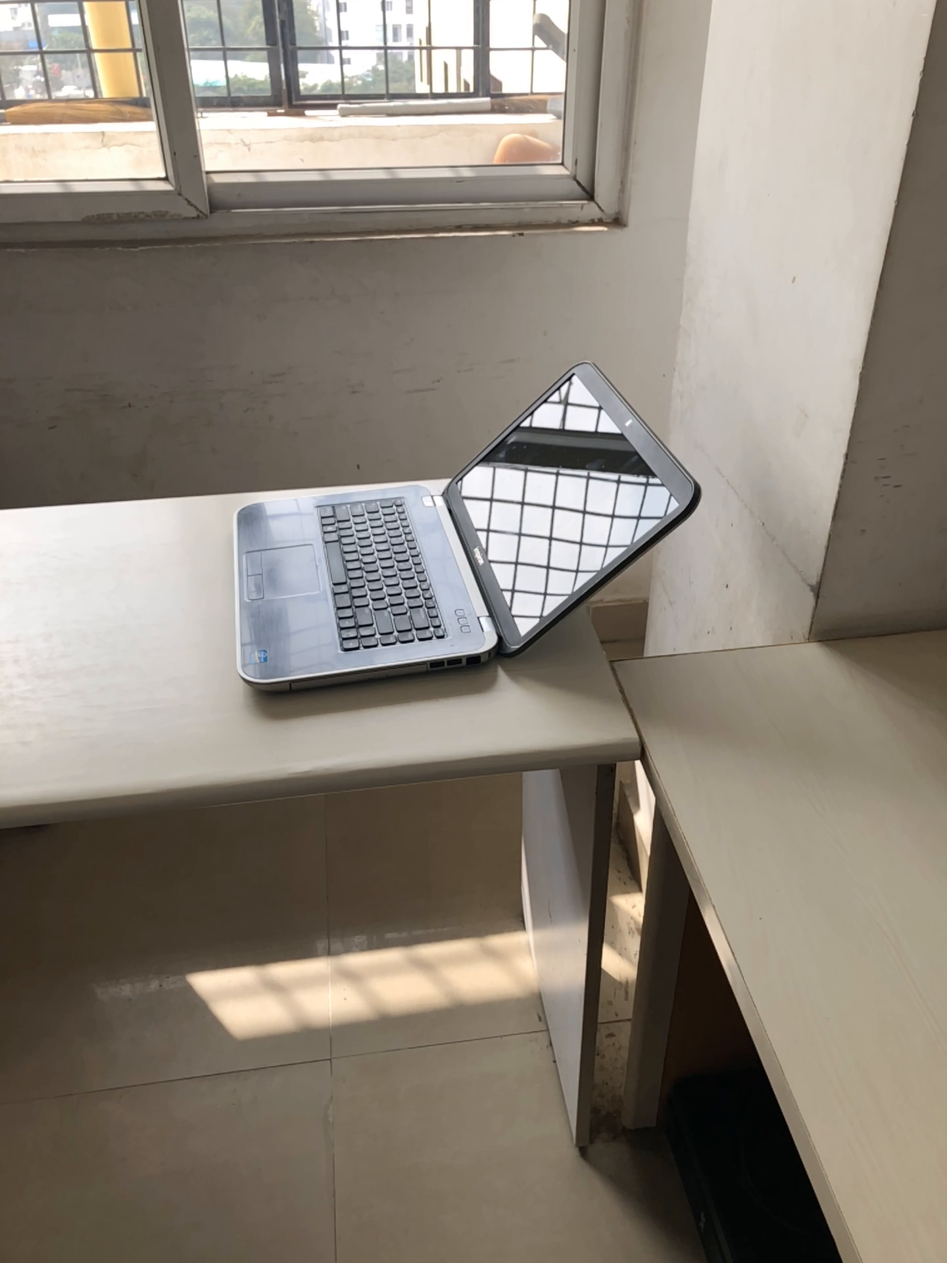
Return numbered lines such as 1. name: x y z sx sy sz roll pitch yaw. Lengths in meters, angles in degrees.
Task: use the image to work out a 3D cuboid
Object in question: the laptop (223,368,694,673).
1. laptop: -0.040 -0.135 1.085 0.405 0.145 0.344 -6 34 -9
